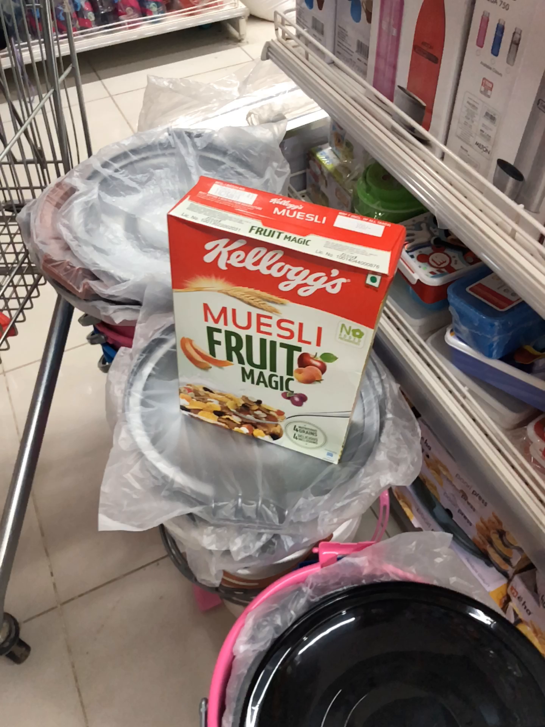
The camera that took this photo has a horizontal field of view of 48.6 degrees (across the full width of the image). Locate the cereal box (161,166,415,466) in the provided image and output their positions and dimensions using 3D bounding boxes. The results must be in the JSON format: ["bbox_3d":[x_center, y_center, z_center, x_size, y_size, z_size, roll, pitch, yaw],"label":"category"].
[{"bbox_3d":[0.005,-0.033,0.569,0.190,0.249,0.070,17,47,11],"label":"cereal box"}]
